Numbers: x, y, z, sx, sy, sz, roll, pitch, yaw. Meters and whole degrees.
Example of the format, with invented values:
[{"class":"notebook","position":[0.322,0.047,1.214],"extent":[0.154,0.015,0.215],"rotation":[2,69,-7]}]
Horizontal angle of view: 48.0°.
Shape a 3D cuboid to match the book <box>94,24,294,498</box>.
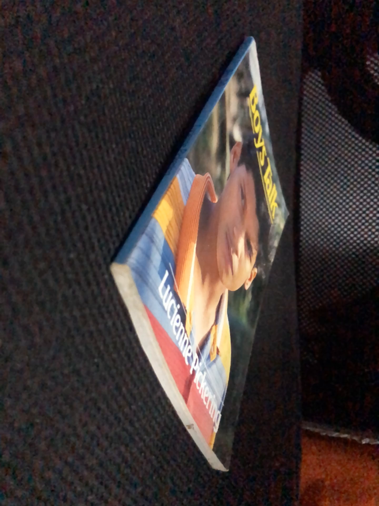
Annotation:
[{"class":"book","position":[0.027,-0.011,0.203],"extent":[0.191,0.010,0.130],"rotation":[-67,148,-44]}]
